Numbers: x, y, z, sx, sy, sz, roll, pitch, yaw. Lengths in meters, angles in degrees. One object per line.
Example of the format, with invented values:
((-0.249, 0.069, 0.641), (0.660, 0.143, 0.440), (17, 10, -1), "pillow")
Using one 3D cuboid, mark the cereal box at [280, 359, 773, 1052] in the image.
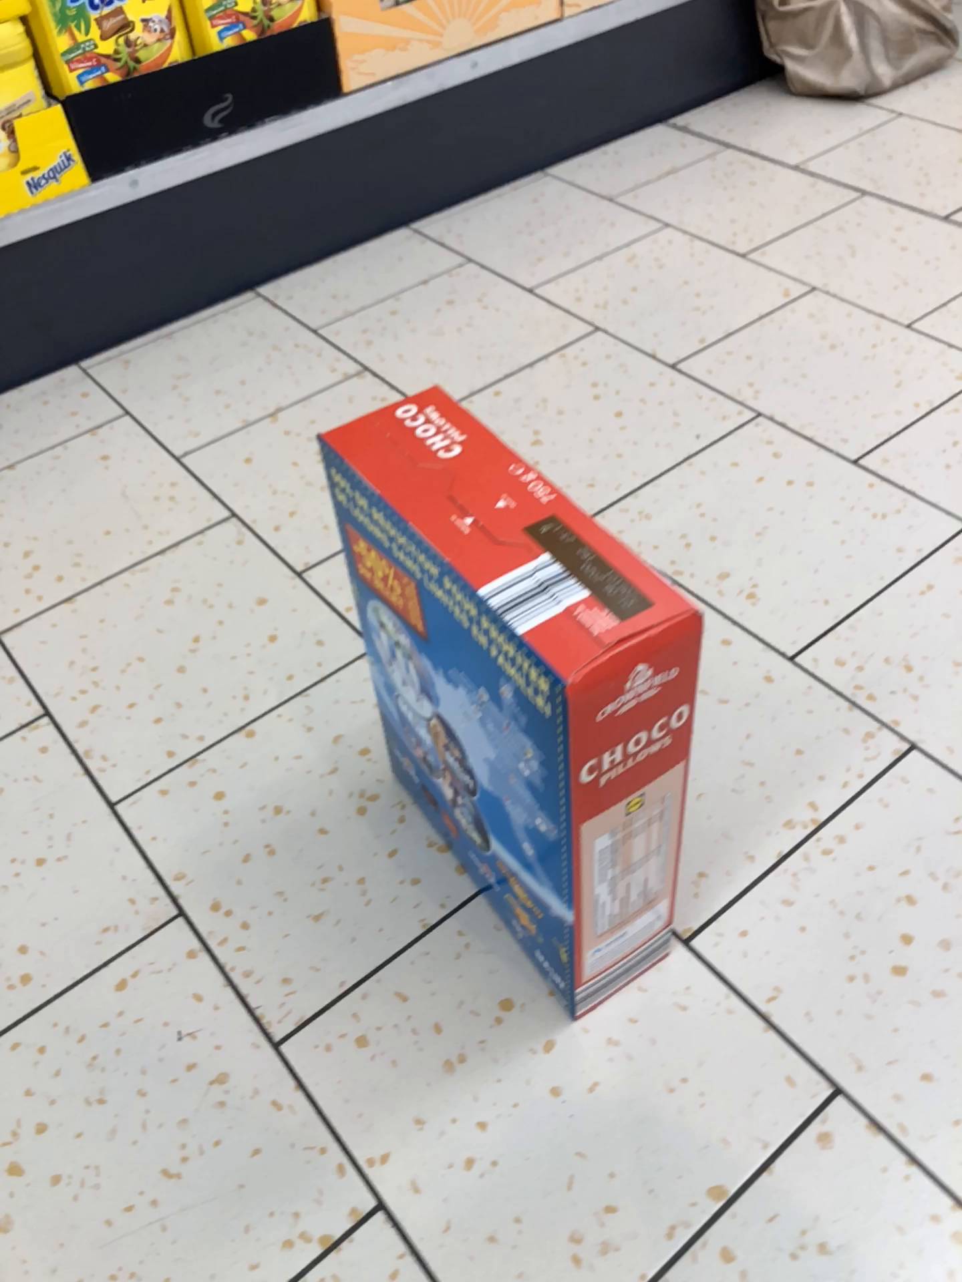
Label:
((0.015, 0.032, 0.499), (0.090, 0.239, 0.211), (-27, 49, -19), "cereal box")
